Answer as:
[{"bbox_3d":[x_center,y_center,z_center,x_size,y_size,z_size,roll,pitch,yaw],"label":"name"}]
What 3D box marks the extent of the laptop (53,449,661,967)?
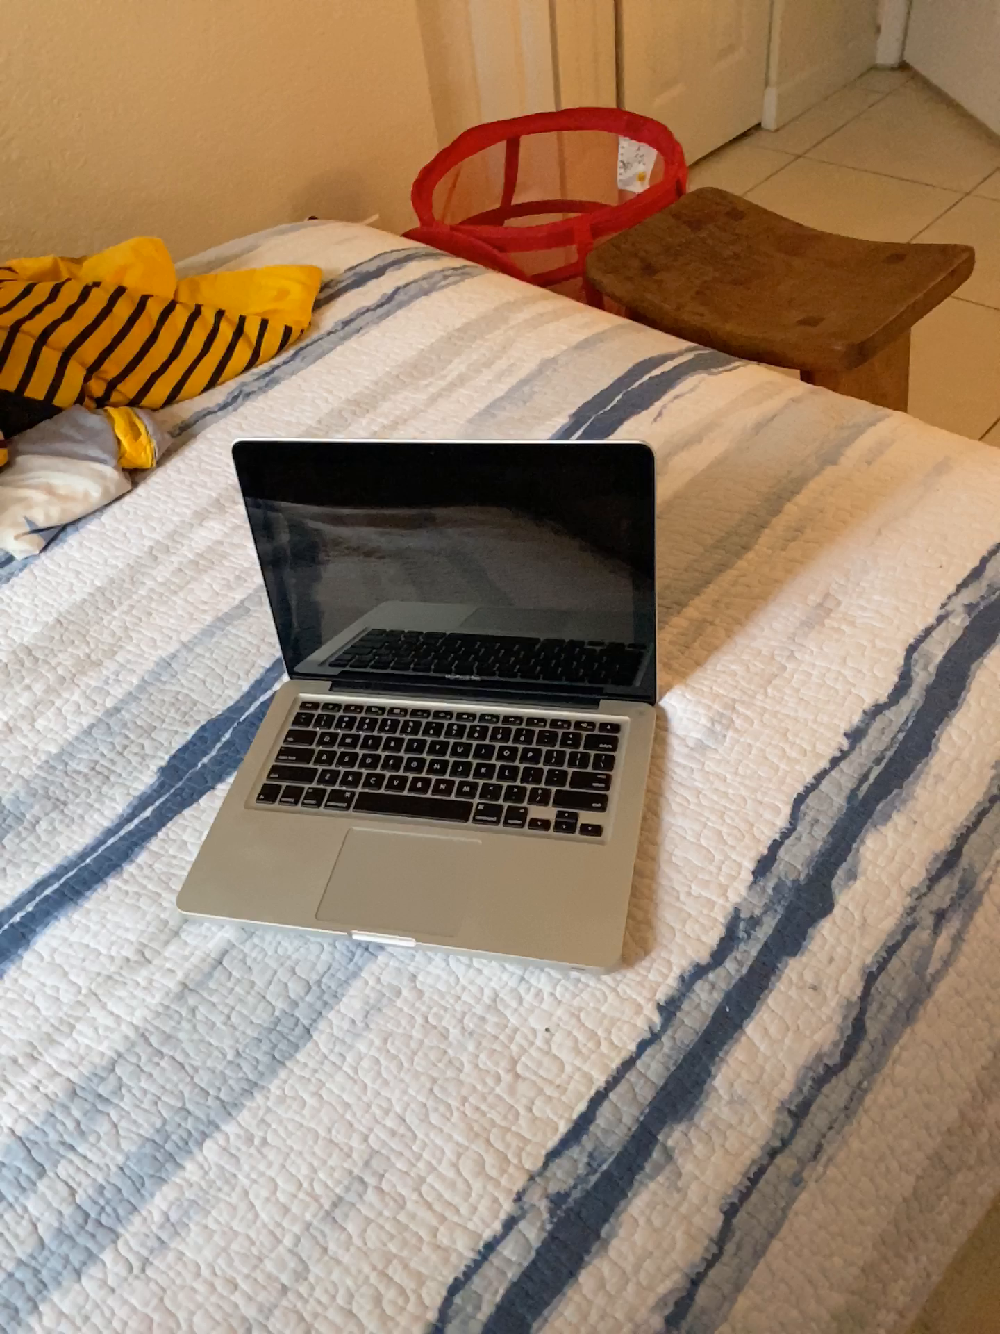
[{"bbox_3d":[-0.062,0.013,0.708,0.318,0.199,0.279,4,47,14],"label":"laptop"}]
